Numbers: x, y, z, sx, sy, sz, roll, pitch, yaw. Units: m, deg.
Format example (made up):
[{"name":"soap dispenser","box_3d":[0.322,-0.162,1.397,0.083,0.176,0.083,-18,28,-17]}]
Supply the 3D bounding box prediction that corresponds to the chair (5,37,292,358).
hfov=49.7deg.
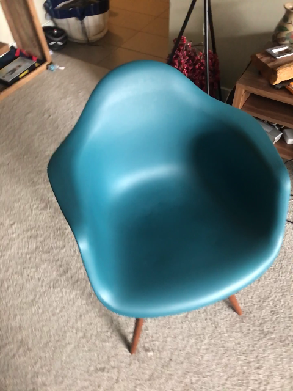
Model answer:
[{"name":"chair","box_3d":[0.012,0.065,1.047,0.571,0.845,0.482,-19,51,-12]}]
